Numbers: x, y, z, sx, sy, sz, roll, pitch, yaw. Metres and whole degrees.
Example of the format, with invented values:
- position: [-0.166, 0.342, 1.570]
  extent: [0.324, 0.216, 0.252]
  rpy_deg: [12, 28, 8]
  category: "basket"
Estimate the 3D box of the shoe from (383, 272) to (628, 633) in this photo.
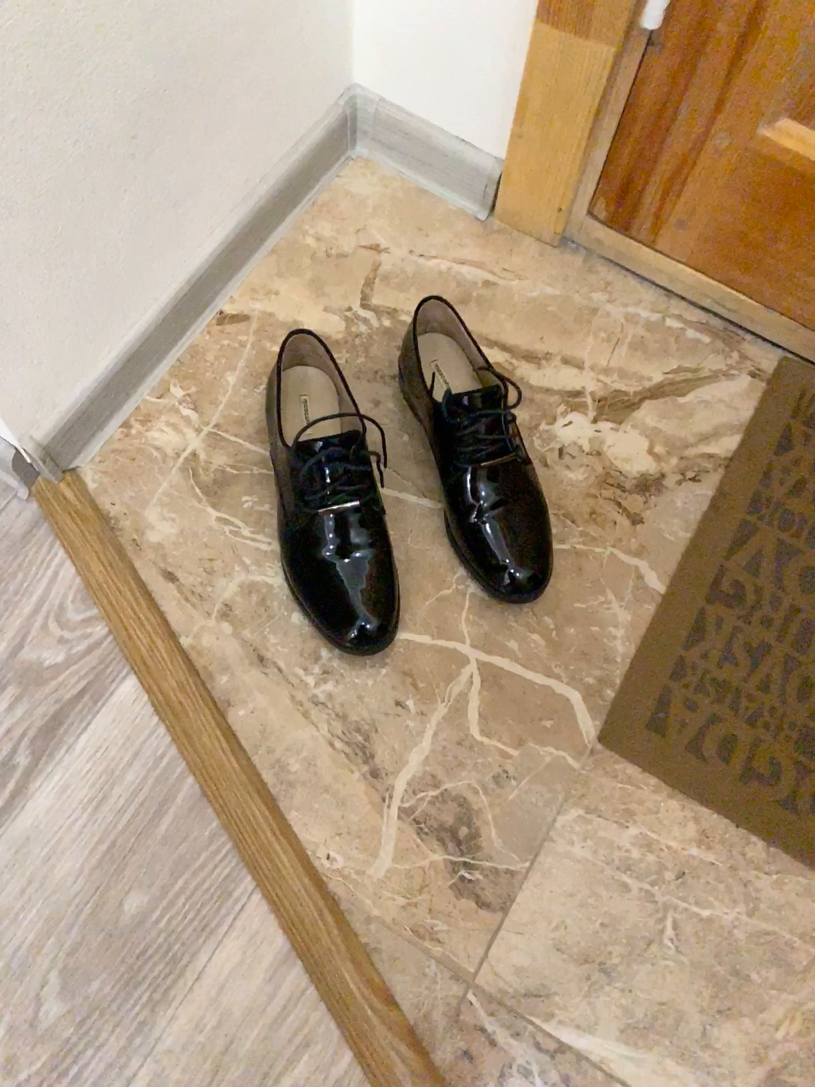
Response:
- position: [0.061, -0.068, 0.625]
  extent: [0.090, 0.110, 0.230]
  rpy_deg: [-15, 69, -10]
  category: "shoe"

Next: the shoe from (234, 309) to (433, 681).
- position: [-0.056, -0.034, 0.599]
  extent: [0.086, 0.110, 0.230]
  rpy_deg: [-11, 68, -9]
  category: "shoe"
